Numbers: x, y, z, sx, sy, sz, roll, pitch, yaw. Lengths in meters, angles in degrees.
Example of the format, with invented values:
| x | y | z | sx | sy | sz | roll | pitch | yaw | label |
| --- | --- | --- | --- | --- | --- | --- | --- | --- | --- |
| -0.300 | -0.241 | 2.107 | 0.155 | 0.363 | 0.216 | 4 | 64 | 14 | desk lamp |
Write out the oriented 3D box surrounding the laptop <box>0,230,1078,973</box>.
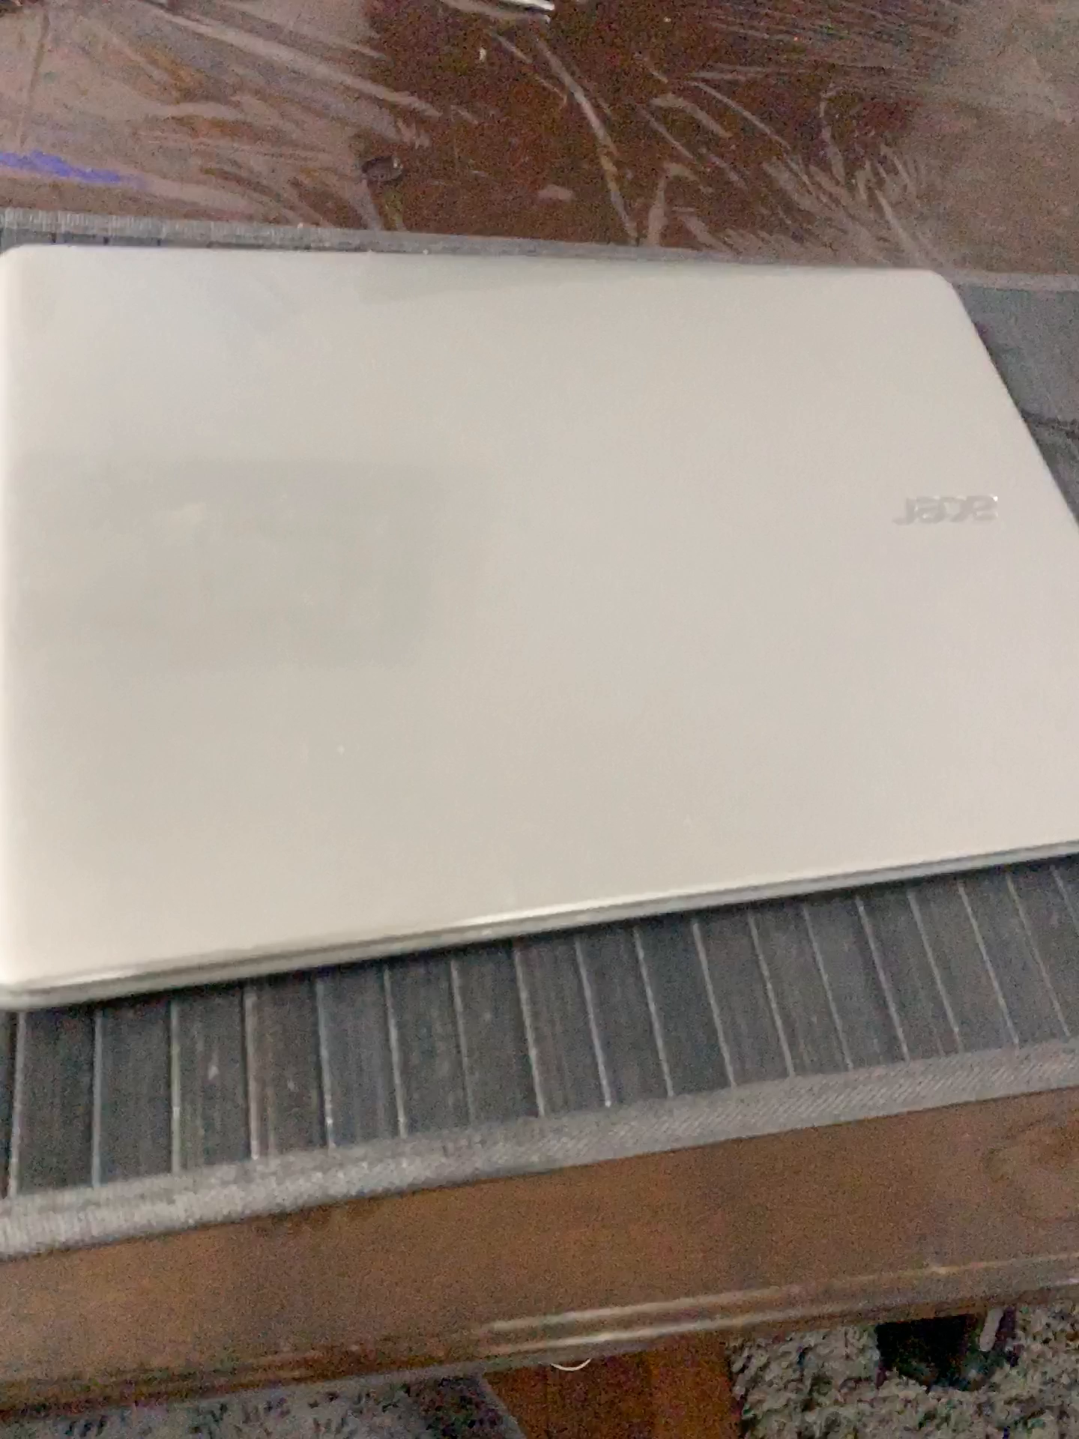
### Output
| x | y | z | sx | sy | sz | roll | pitch | yaw | label |
| --- | --- | --- | --- | --- | --- | --- | --- | --- | --- |
| 0.011 | -0.058 | 0.328 | 0.335 | 0.002 | 0.223 | -5 | 63 | -17 | laptop |
